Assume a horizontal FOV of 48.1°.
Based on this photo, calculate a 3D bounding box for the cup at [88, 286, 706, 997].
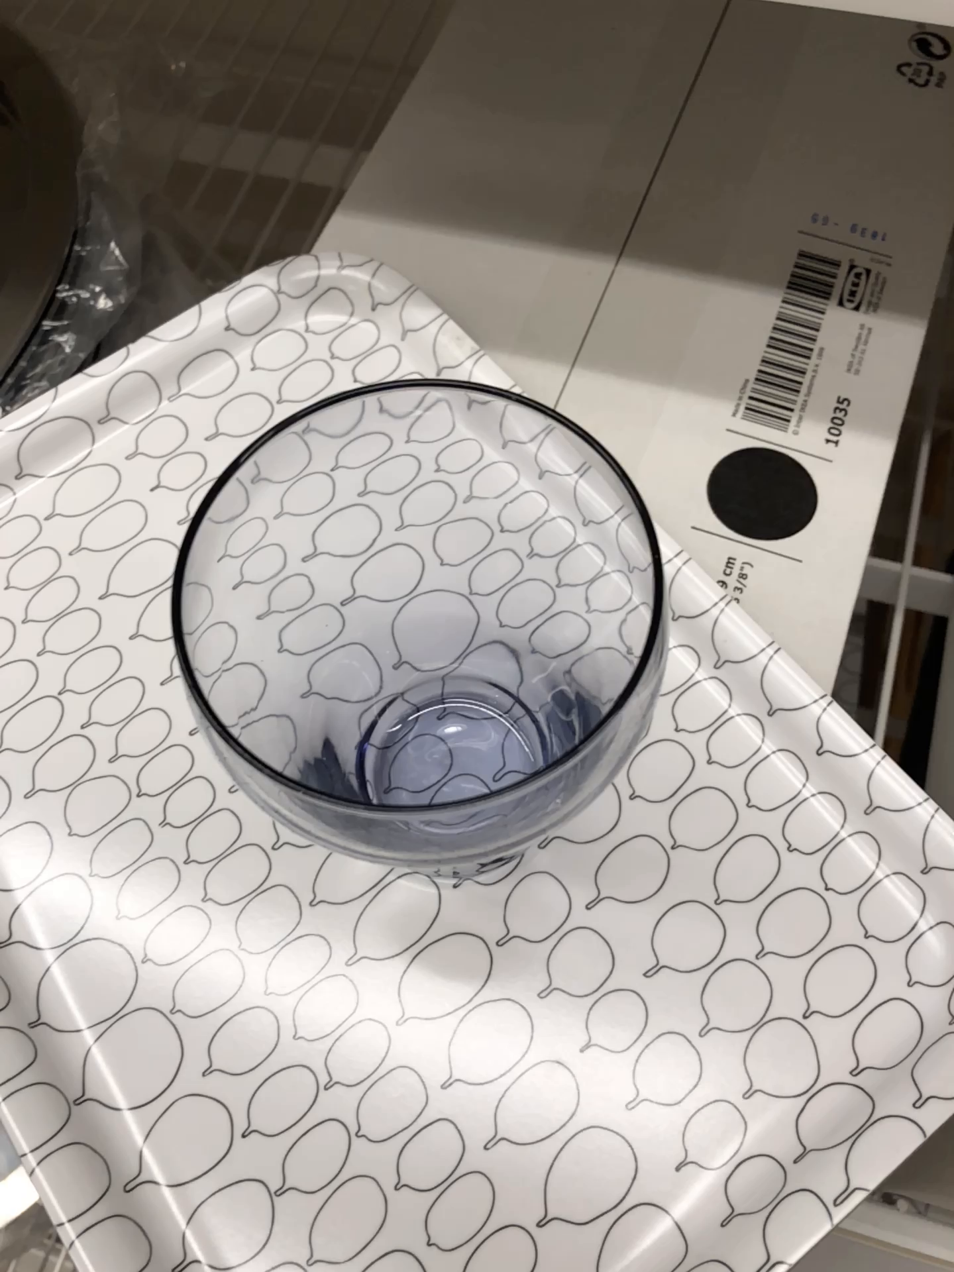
[{"bbox_3d":[-0.015,0.005,0.193,0.080,0.080,0.090,-9,62,-2],"label":"cup"}]
